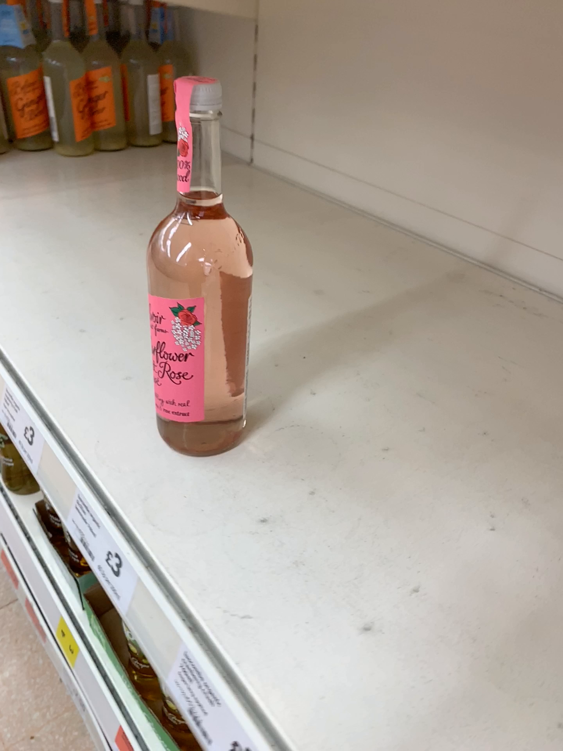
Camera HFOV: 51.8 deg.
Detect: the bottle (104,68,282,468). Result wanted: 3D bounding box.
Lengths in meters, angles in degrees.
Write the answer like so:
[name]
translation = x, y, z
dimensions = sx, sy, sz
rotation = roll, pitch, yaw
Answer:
[bottle]
translation = -0.066, -0.071, 0.437
dimensions = 0.086, 0.274, 0.087
rotation = 3, 34, -2
